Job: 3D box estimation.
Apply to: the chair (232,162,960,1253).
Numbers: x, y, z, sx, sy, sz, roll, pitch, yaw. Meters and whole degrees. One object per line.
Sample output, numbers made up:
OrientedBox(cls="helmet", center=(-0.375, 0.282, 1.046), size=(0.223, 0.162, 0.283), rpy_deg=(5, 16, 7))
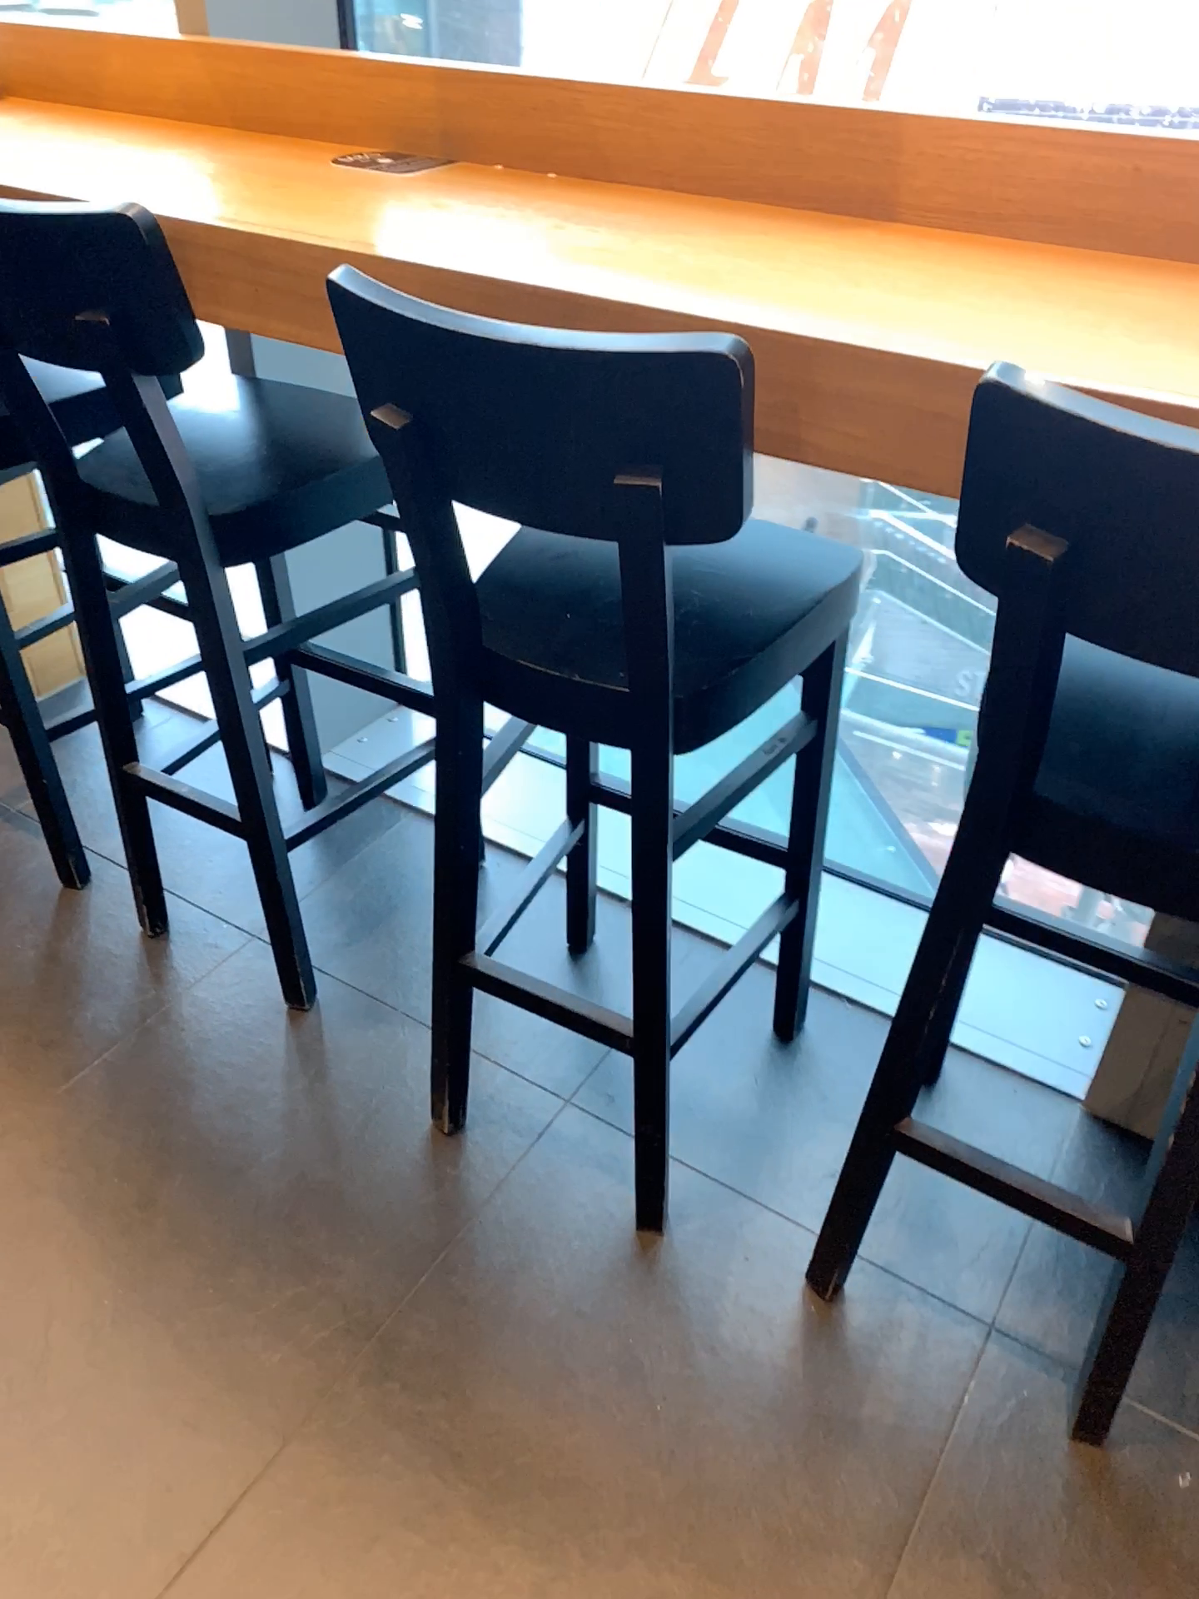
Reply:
OrientedBox(cls="chair", center=(0.015, -0.084, 1.335), size=(0.454, 1.001, 0.463), rpy_deg=(19, 40, 24))

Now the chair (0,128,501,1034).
OrientedBox(cls="chair", center=(-0.446, -0.269, 1.601), size=(0.394, 1.001, 0.463), rpy_deg=(22, 41, 27))

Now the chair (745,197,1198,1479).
OrientedBox(cls="chair", center=(0.464, 0.056, 1.122), size=(0.424, 1.001, 0.463), rpy_deg=(20, 40, 25))
